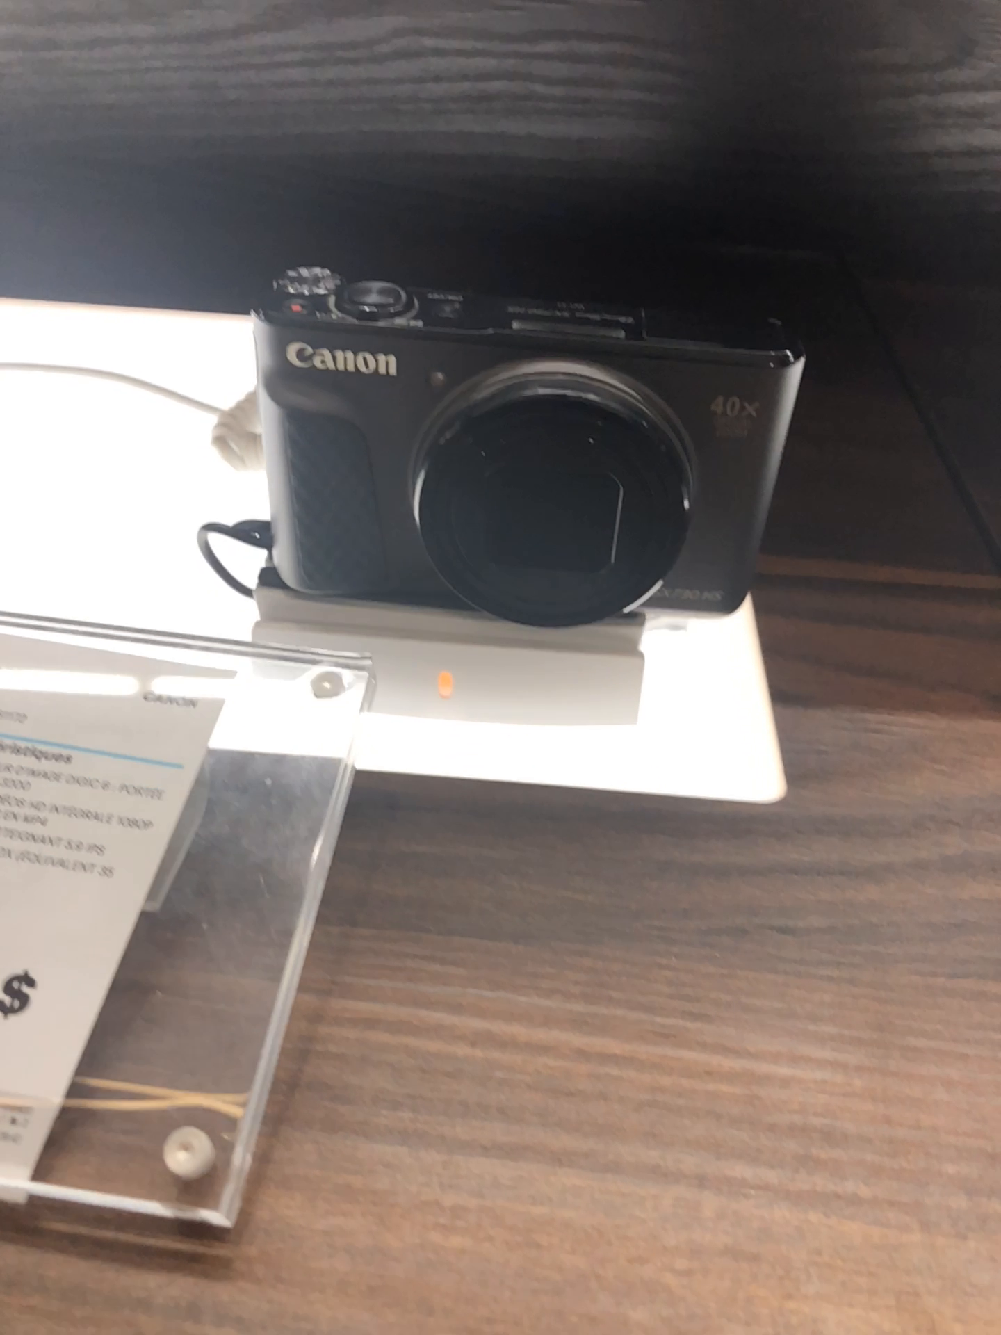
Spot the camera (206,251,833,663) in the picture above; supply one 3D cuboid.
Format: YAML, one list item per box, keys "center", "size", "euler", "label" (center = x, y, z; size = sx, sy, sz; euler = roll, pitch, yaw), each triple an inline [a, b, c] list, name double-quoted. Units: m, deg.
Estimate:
- center: [0.003, -0.044, 0.238]
  size: [0.114, 0.069, 0.035]
  euler: [5, 38, 2]
  label: "camera"
